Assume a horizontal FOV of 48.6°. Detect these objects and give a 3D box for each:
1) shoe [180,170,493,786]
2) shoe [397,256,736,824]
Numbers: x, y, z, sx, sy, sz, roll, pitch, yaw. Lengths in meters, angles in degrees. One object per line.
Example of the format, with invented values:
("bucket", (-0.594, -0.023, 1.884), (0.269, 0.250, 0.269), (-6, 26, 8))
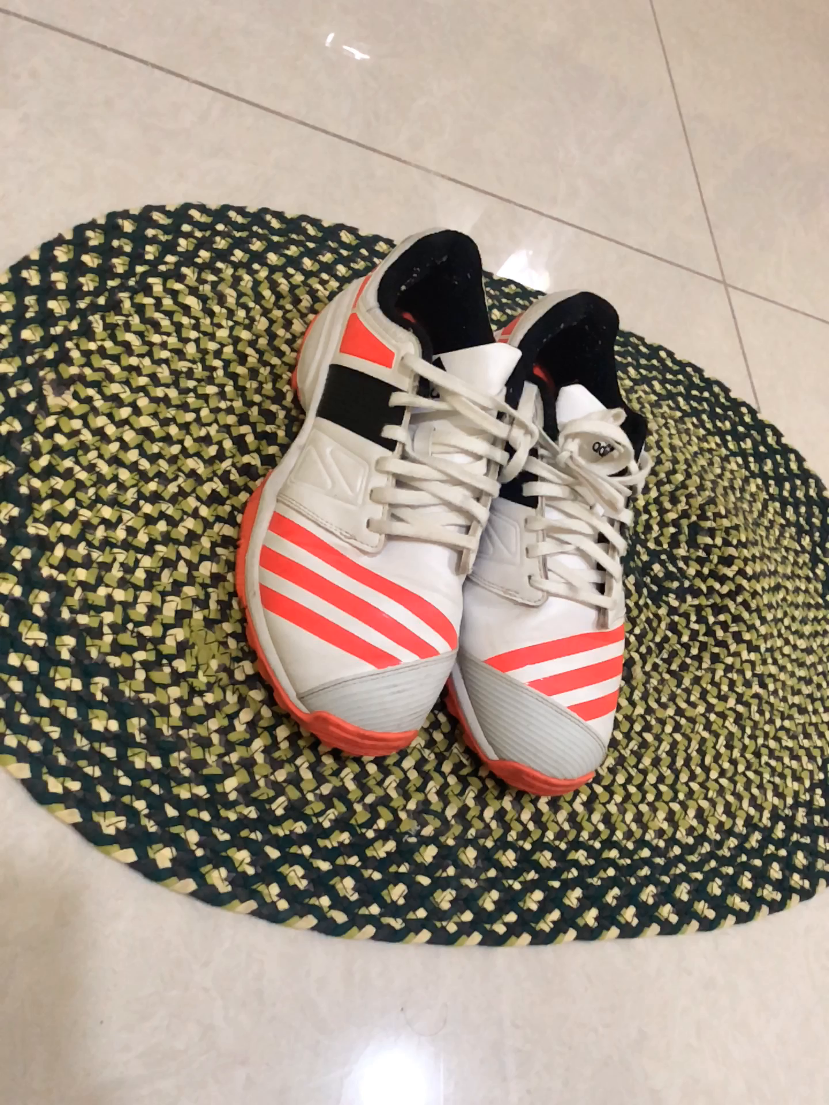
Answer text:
("shoe", (-0.029, -0.039, 0.442), (0.100, 0.090, 0.270), (16, 58, -22))
("shoe", (0.069, -0.007, 0.465), (0.110, 0.100, 0.250), (16, 58, -22))
